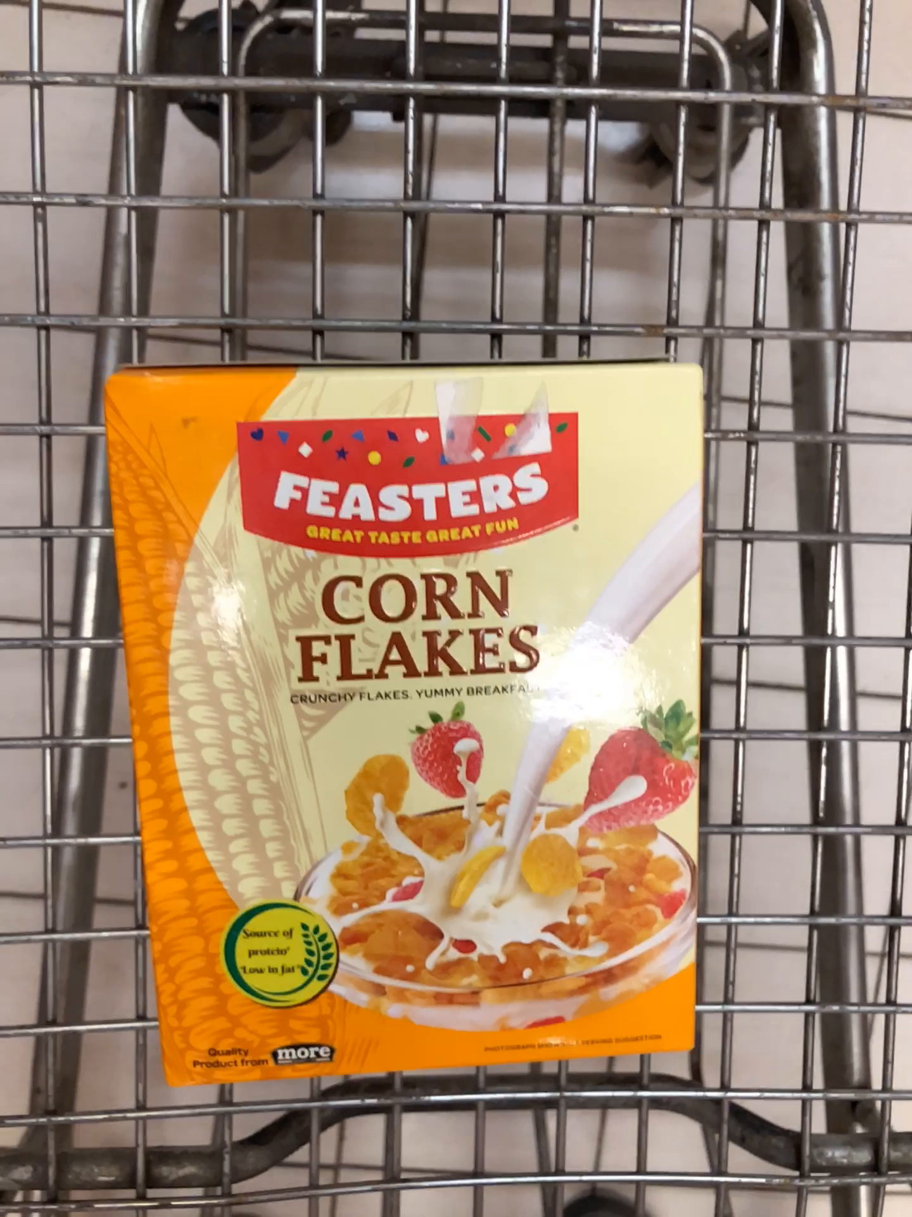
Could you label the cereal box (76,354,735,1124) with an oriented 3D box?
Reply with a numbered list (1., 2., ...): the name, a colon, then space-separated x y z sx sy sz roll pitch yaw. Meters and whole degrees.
1. cereal box: -0.010 0.029 0.264 0.140 0.060 0.180 -2 101 -3
